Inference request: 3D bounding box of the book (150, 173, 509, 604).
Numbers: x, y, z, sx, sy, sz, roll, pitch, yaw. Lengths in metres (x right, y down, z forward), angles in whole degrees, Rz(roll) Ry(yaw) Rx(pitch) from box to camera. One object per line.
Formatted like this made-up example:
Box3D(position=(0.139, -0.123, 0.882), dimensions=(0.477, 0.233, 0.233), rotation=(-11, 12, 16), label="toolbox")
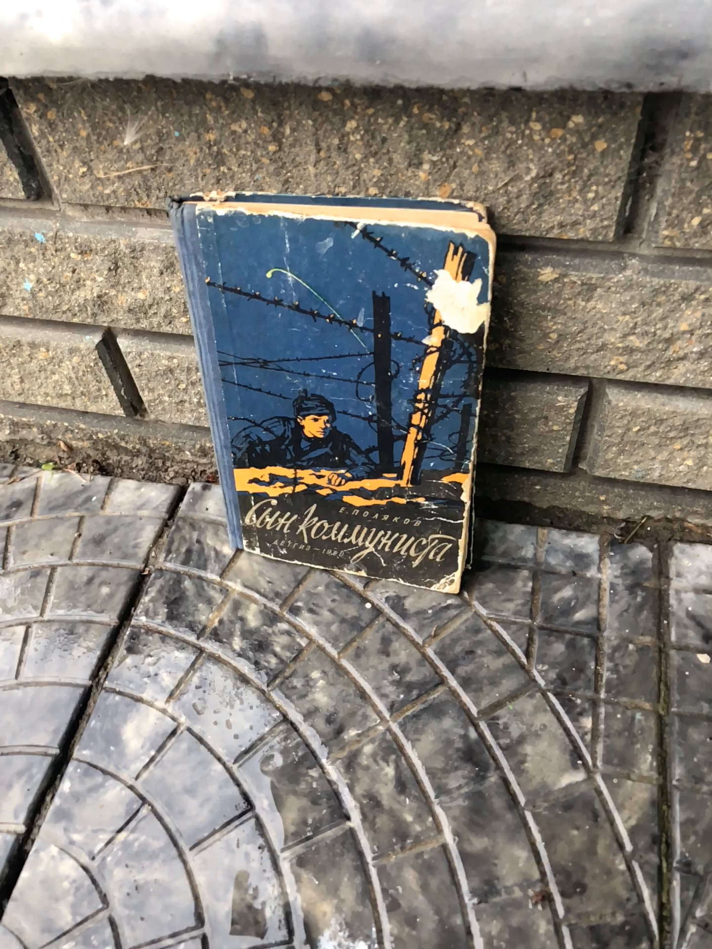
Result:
Box3D(position=(-0.009, -0.033, 0.381), dimensions=(0.140, 0.199, 0.040), rotation=(9, 40, 13), label="book")
